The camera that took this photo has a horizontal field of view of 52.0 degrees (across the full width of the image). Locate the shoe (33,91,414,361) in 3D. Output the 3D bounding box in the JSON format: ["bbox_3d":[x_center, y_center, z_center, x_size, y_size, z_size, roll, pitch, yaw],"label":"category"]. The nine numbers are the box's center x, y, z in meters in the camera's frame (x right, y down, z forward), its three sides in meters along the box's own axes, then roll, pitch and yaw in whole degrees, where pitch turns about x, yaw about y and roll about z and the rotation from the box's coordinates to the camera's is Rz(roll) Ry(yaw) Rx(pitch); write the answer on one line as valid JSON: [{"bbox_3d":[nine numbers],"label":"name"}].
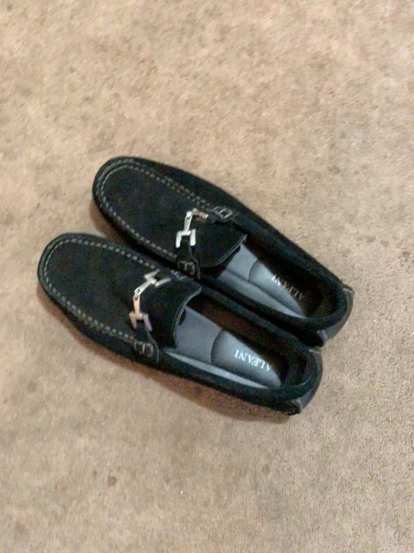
[{"bbox_3d":[0.013,-0.037,0.396,0.300,0.100,0.100,27,77,2],"label":"shoe"}]

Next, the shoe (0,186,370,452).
[{"bbox_3d":[-0.029,0.040,0.384,0.300,0.100,0.100,23,77,1],"label":"shoe"}]
